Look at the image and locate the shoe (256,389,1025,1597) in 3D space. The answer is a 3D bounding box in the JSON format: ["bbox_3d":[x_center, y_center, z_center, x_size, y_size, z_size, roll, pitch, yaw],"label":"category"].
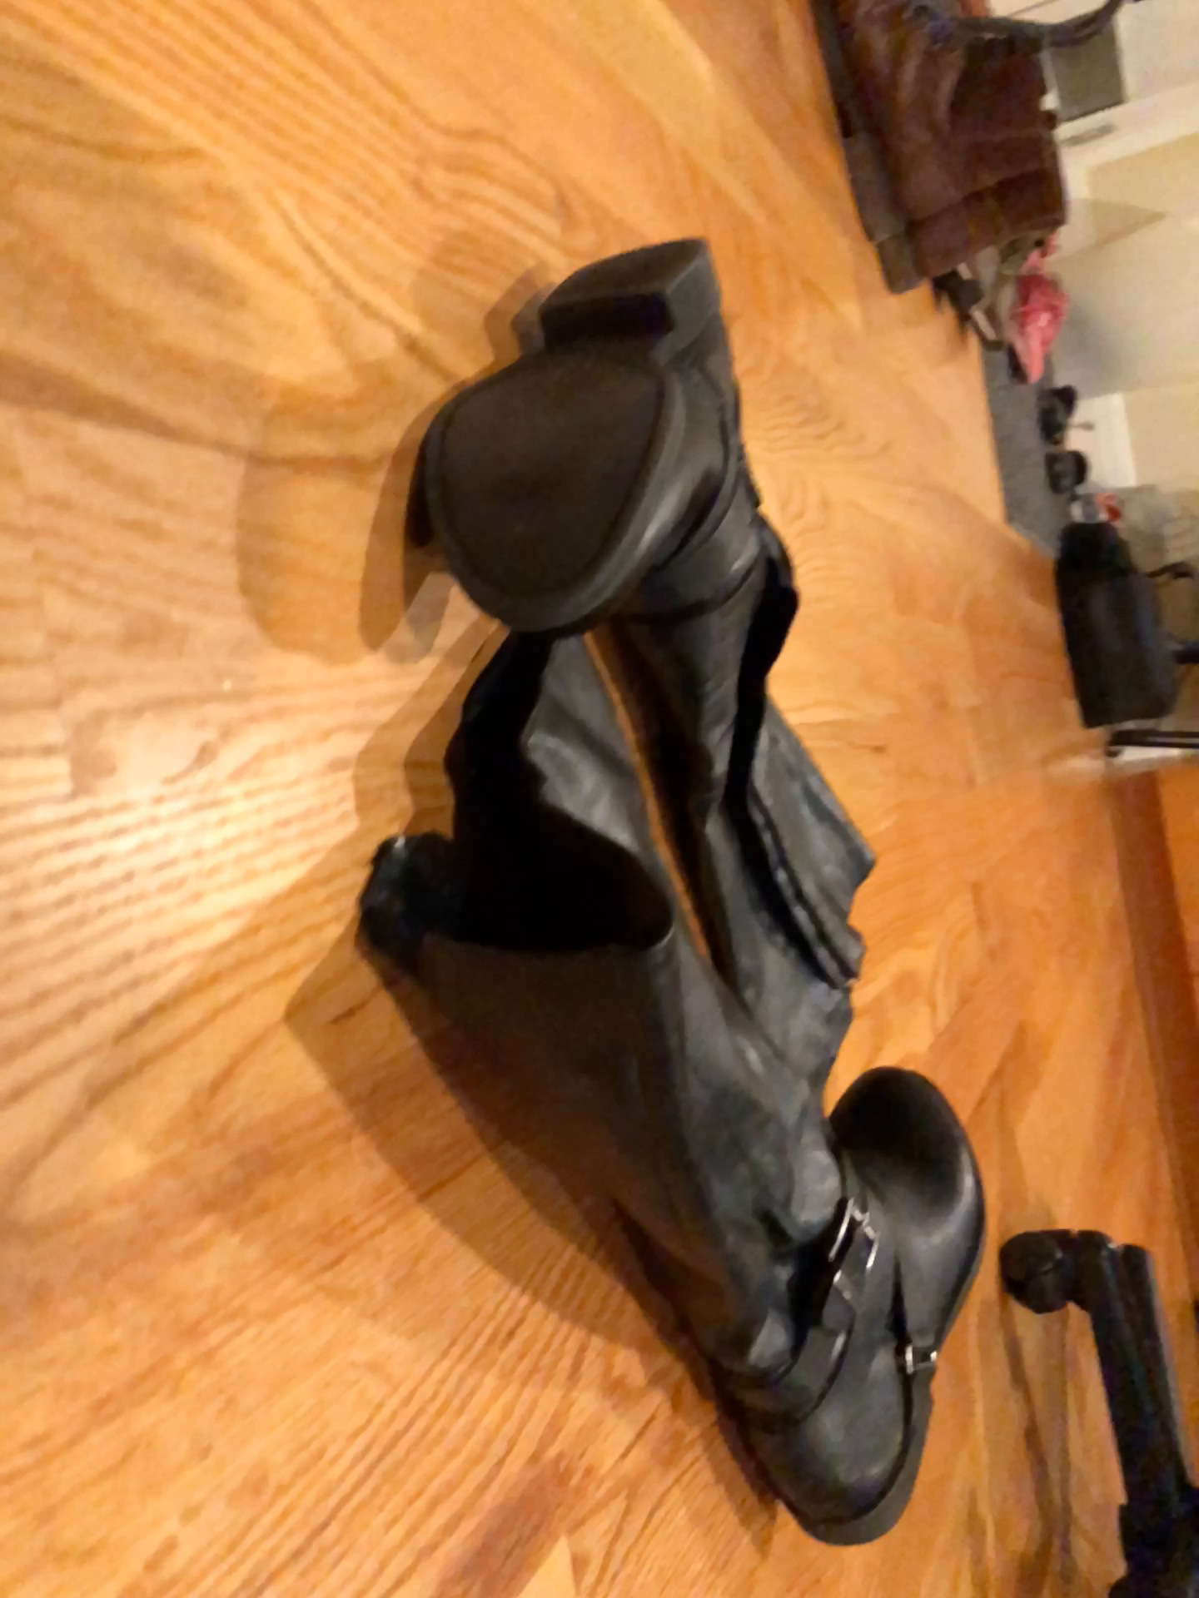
[{"bbox_3d":[0.072,0.097,0.514,0.403,0.104,0.291,66,29,-30],"label":"shoe"}]

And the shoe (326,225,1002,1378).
[{"bbox_3d":[0.071,0.007,0.544,0.393,0.094,0.251,65,29,-28],"label":"shoe"}]
